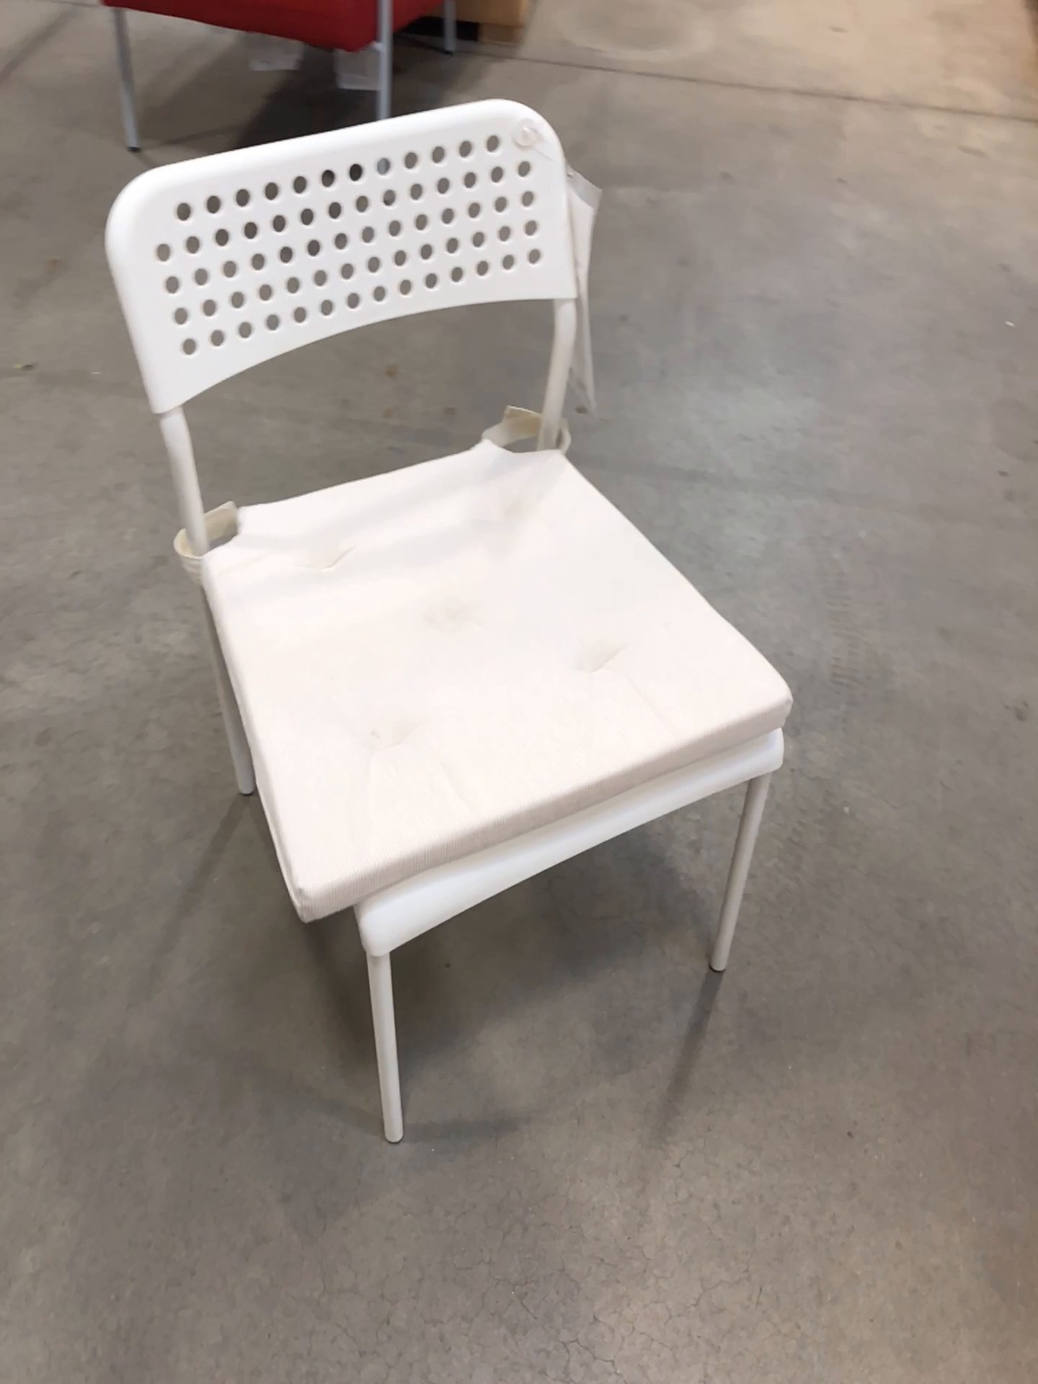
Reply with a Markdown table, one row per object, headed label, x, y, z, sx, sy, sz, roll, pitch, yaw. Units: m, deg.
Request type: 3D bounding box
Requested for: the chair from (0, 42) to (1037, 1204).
| label | x | y | z | sx | sy | sz | roll | pitch | yaw |
| --- | --- | --- | --- | --- | --- | --- | --- | --- | --- |
| chair | -0.032 | -0.027 | 0.993 | 0.480 | 0.738 | 0.531 | -22 | 56 | -20 |
